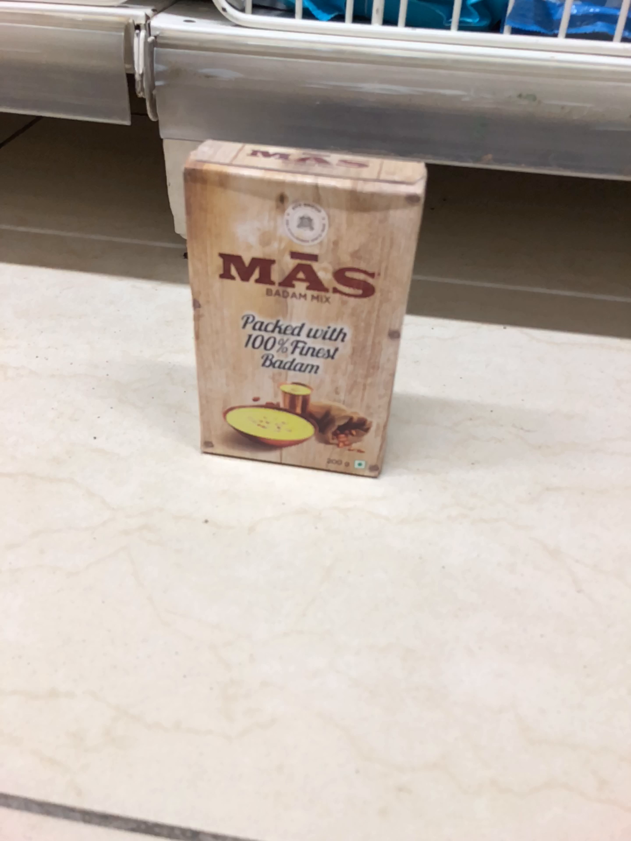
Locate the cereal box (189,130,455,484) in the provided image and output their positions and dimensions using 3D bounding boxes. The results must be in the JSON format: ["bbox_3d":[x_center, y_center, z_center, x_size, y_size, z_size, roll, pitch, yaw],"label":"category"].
[{"bbox_3d":[0.000,-0.042,0.288,0.090,0.129,0.040,9,38,6],"label":"cereal box"}]
